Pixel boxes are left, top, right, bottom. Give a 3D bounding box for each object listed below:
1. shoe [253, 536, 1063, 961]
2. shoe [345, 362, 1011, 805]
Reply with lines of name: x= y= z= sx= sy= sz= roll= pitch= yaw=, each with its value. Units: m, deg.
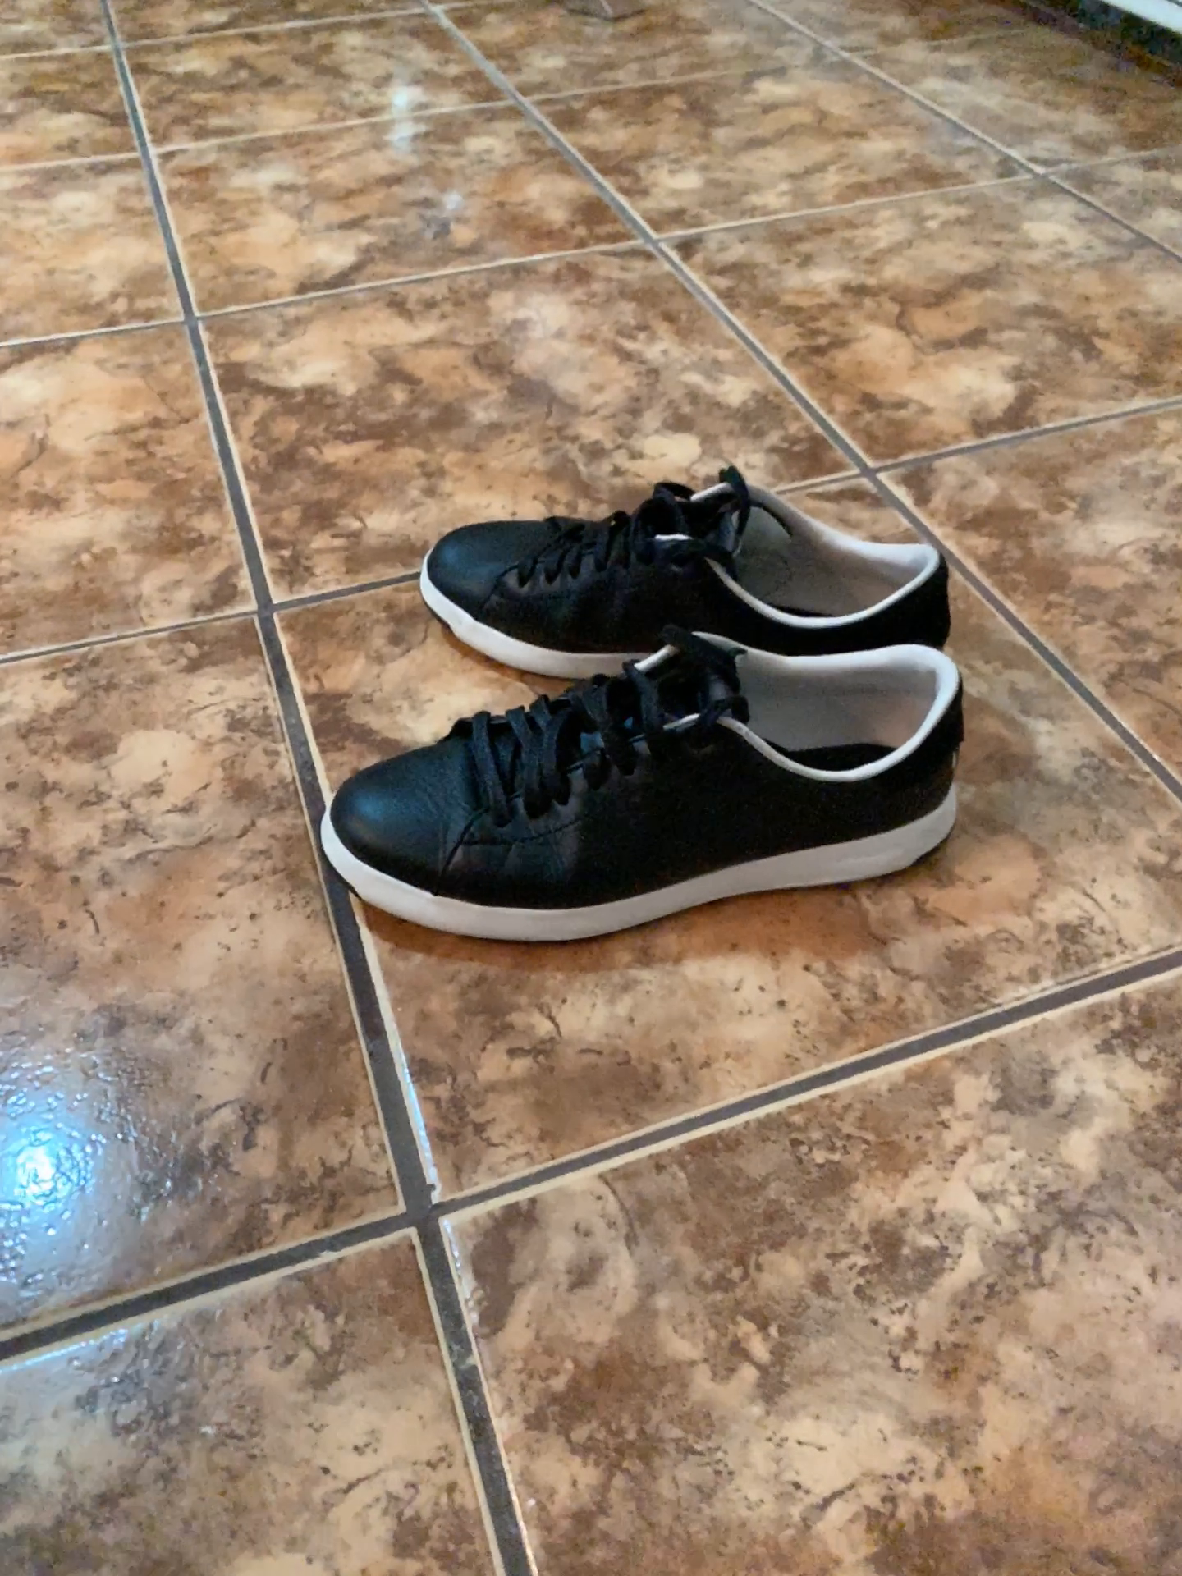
shoe: x=0.019 y=-0.015 z=0.445 sx=0.255 sy=0.103 sz=0.090 roll=-5 pitch=46 yaw=-5
shoe: x=0.031 y=-0.094 z=0.521 sx=0.255 sy=0.093 sz=0.087 roll=20 pitch=49 yaw=18
